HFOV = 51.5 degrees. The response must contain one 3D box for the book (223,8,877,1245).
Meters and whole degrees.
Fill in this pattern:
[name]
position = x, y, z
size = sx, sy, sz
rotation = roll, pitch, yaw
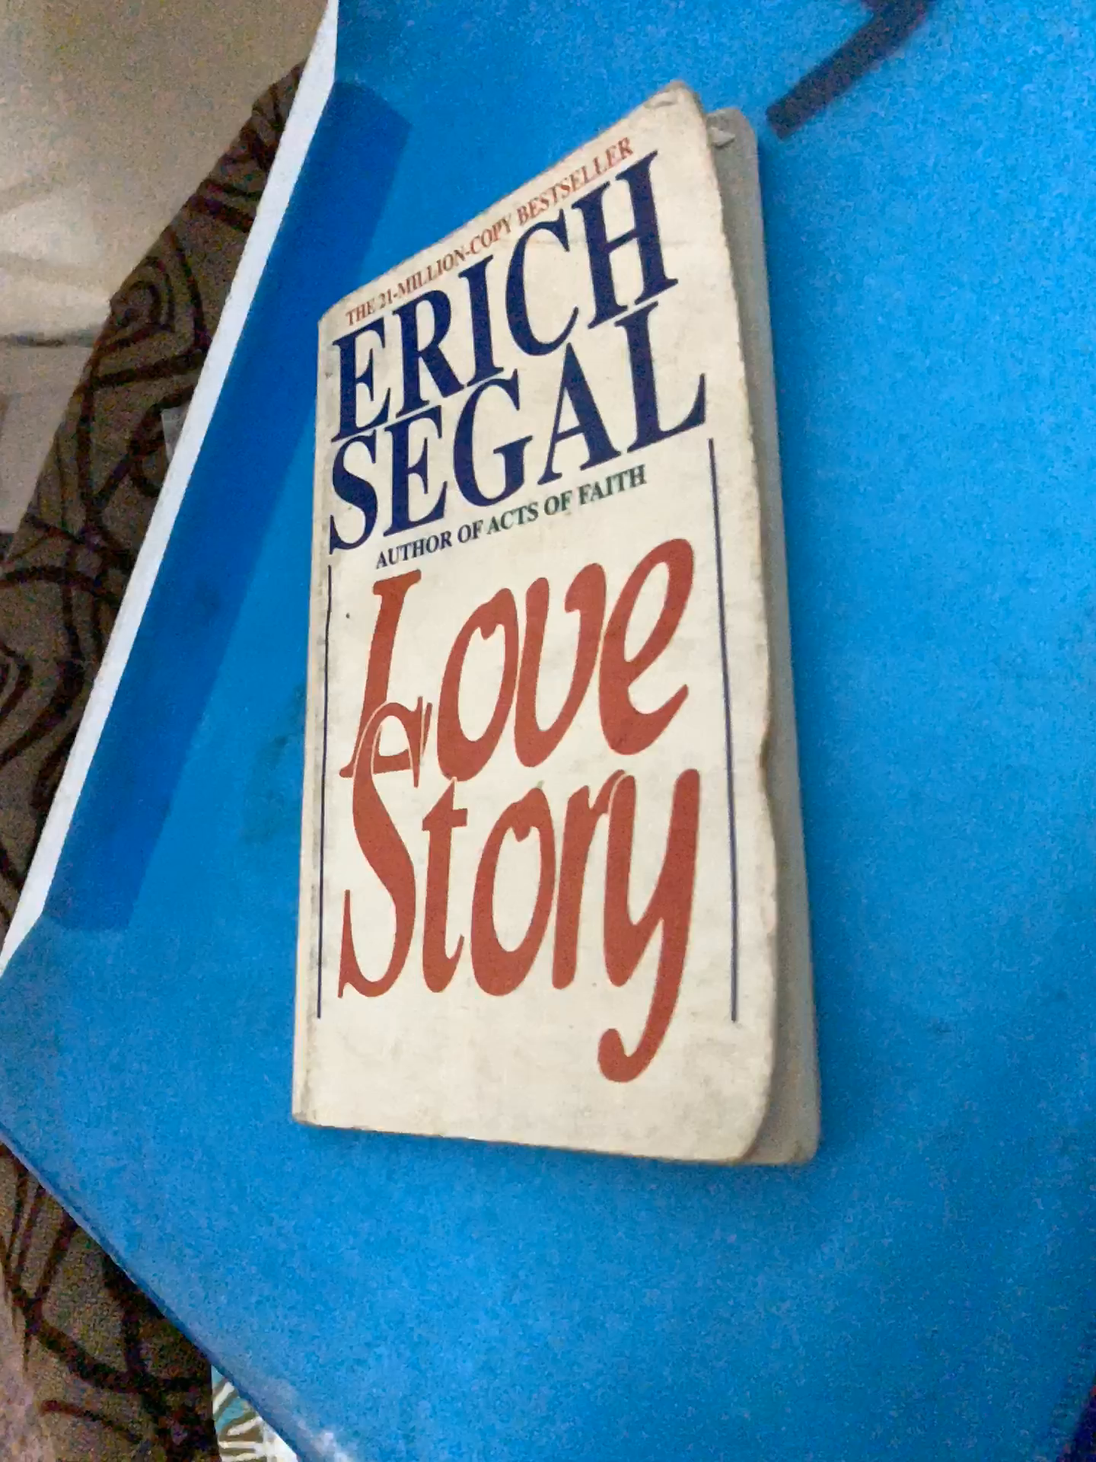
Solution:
[book]
position = -0.007, -0.017, 0.197
size = 0.110, 0.020, 0.180
rotation = -9, 75, 34
